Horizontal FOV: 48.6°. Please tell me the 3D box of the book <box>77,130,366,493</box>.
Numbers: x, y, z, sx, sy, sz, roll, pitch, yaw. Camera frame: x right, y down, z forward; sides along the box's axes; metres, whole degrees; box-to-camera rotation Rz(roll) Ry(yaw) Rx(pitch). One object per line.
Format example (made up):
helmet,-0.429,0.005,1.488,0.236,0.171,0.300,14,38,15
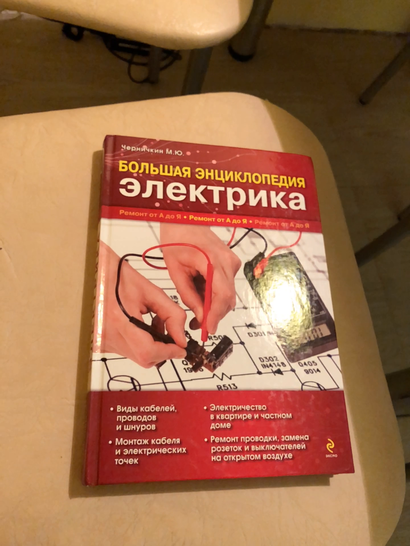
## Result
book,0.009,0.016,0.321,0.172,0.030,0.241,3,68,-11
